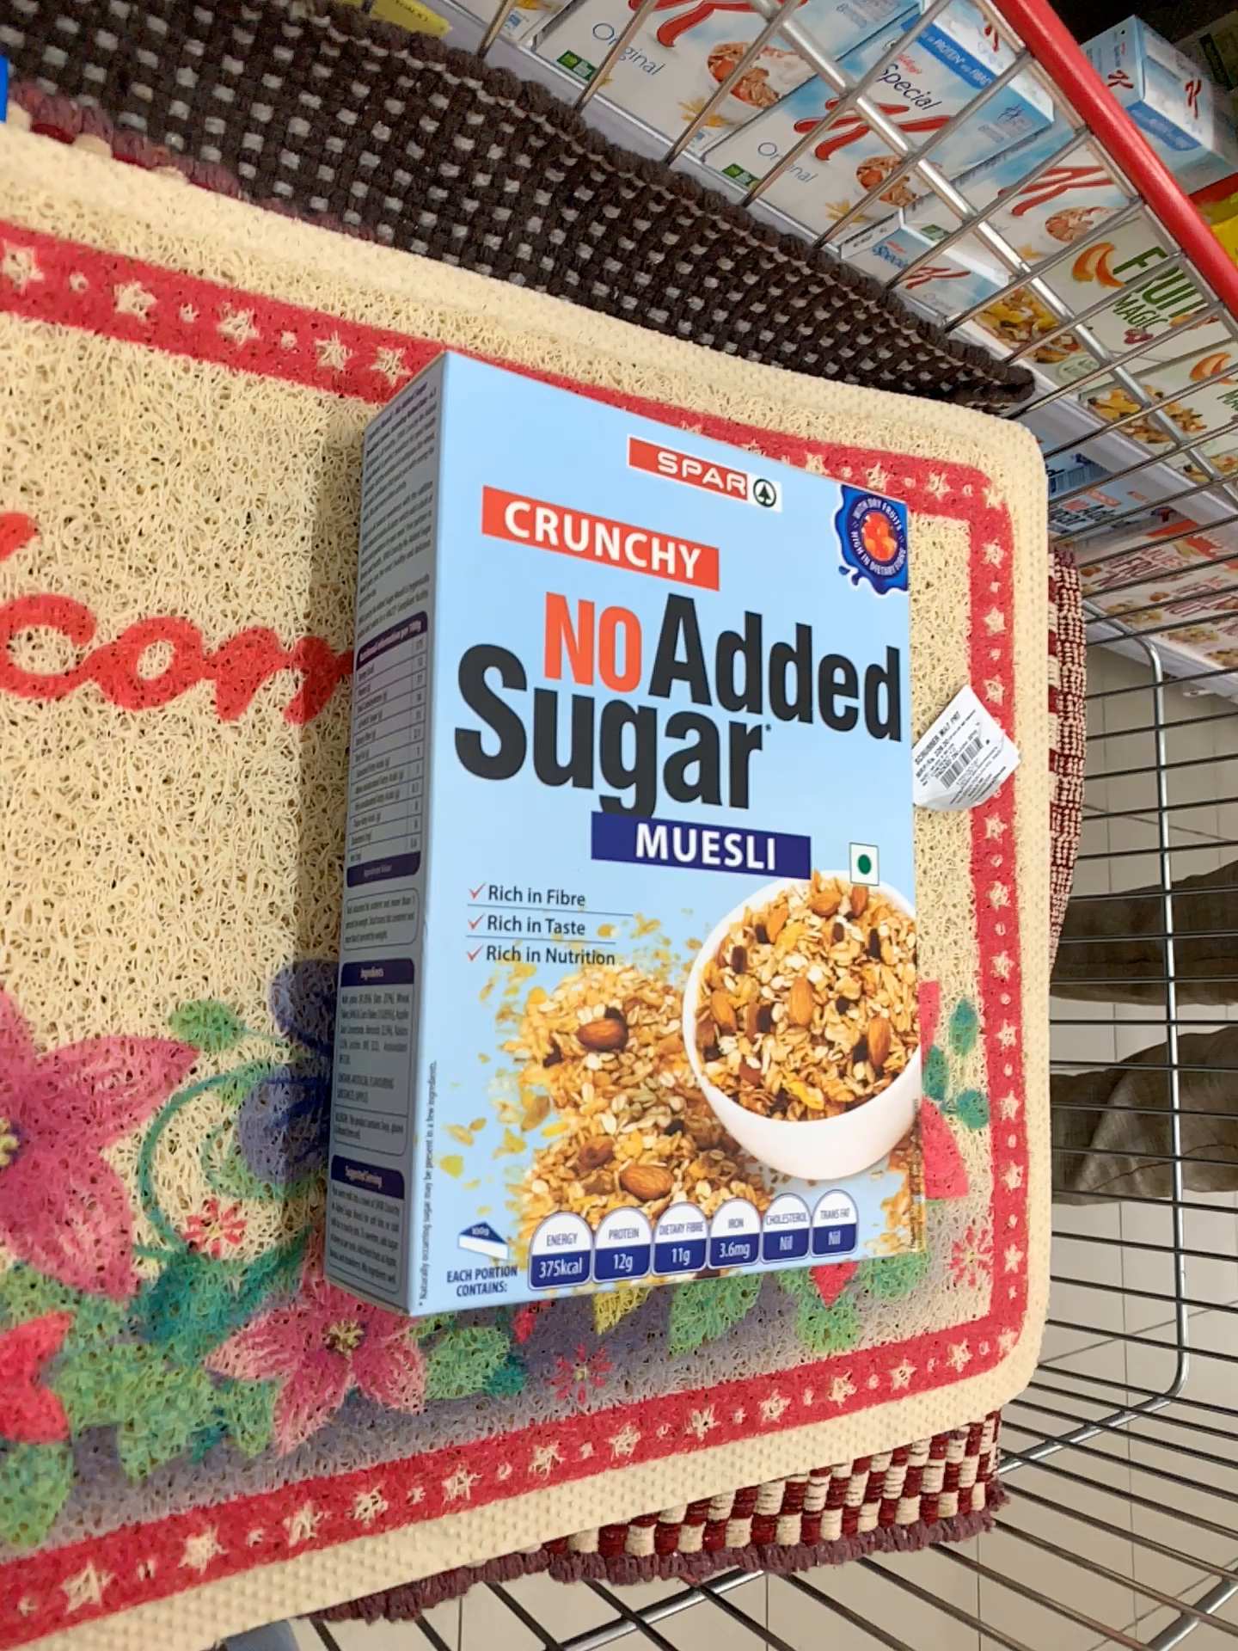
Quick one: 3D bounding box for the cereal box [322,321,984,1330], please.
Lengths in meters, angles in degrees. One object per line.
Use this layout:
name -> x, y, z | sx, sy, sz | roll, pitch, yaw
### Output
cereal box -> 0.017, 0.004, 0.355 | 0.181, 0.050, 0.230 | 6, 80, -33
